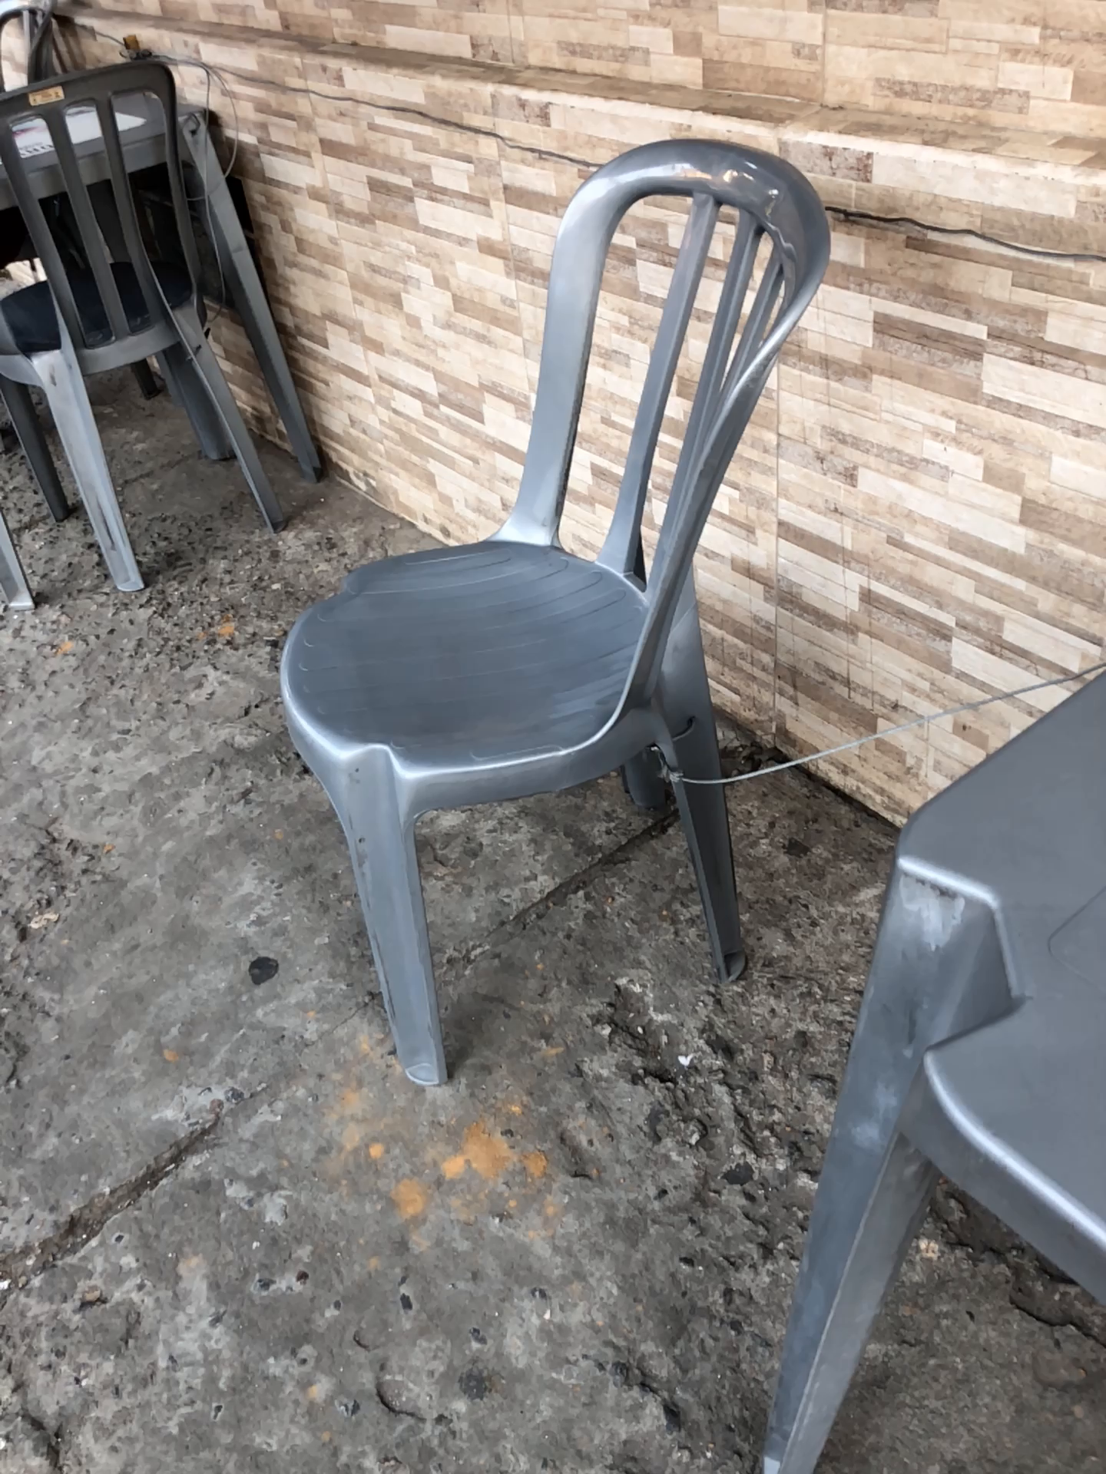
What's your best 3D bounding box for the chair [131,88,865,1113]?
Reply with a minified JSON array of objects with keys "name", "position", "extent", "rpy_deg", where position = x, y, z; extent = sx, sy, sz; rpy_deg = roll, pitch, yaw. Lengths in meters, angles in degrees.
[{"name":"chair","position":[-0.037,-0.118,1.226],"extent":[0.500,0.834,0.443],"rpy_deg":[-14,38,-8]}]
